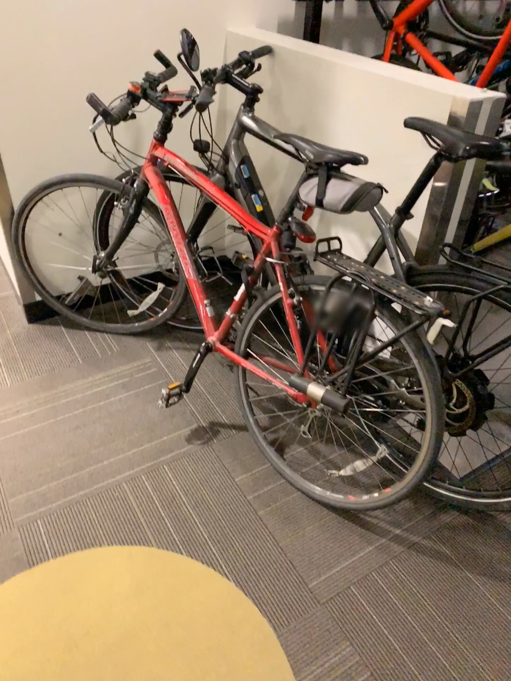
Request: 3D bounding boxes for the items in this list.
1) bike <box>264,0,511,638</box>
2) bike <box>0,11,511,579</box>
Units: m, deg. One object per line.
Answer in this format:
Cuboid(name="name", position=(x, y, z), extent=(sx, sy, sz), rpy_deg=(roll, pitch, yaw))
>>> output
Cuboid(name="bike", position=(0.562, -0.054, 1.332), extent=(0.728, 1.148, 0.694), rpy_deg=(31, 45, 24))
Cuboid(name="bike", position=(-0.140, -0.249, 1.559), extent=(1.615, 0.927, 0.605), rpy_deg=(28, 44, 24))
